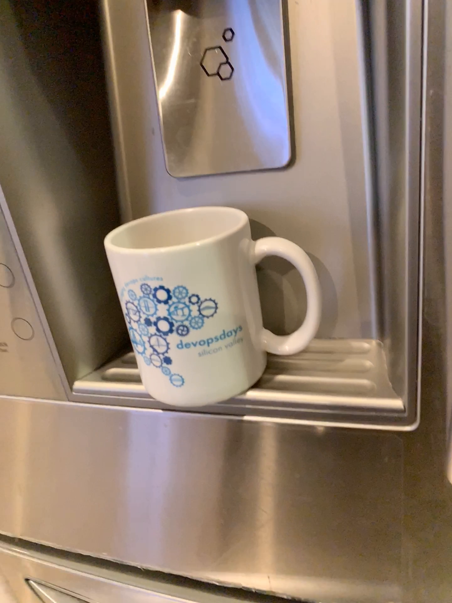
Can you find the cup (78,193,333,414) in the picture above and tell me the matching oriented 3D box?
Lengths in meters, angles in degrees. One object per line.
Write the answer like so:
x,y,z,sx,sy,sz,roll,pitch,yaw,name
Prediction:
-0.002,0.001,0.279,0.120,0.099,0.081,-4,25,13,cup
